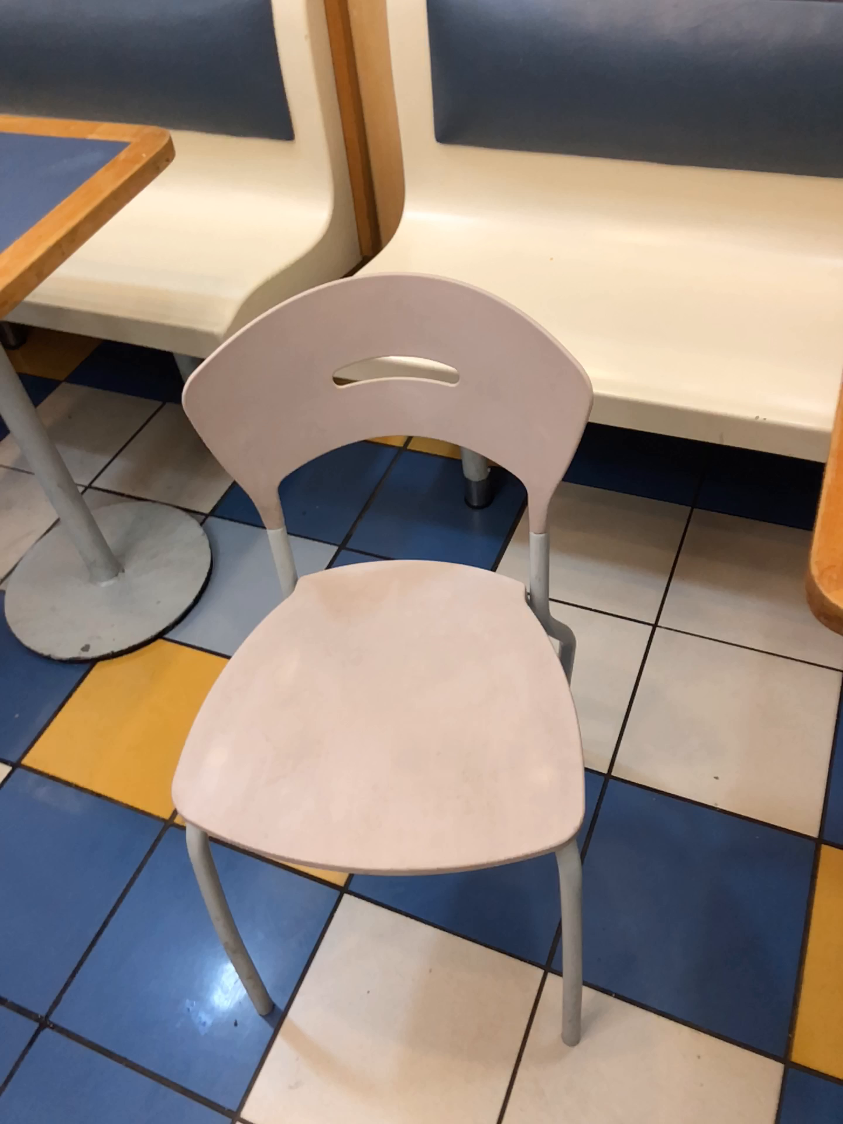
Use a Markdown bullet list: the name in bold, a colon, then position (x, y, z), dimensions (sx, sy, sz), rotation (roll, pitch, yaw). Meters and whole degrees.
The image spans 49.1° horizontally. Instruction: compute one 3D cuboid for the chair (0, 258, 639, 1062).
- **chair**: position (-0.015, 0.152, 1.044), dimensions (0.440, 0.775, 0.513), rotation (1, 48, 9)
